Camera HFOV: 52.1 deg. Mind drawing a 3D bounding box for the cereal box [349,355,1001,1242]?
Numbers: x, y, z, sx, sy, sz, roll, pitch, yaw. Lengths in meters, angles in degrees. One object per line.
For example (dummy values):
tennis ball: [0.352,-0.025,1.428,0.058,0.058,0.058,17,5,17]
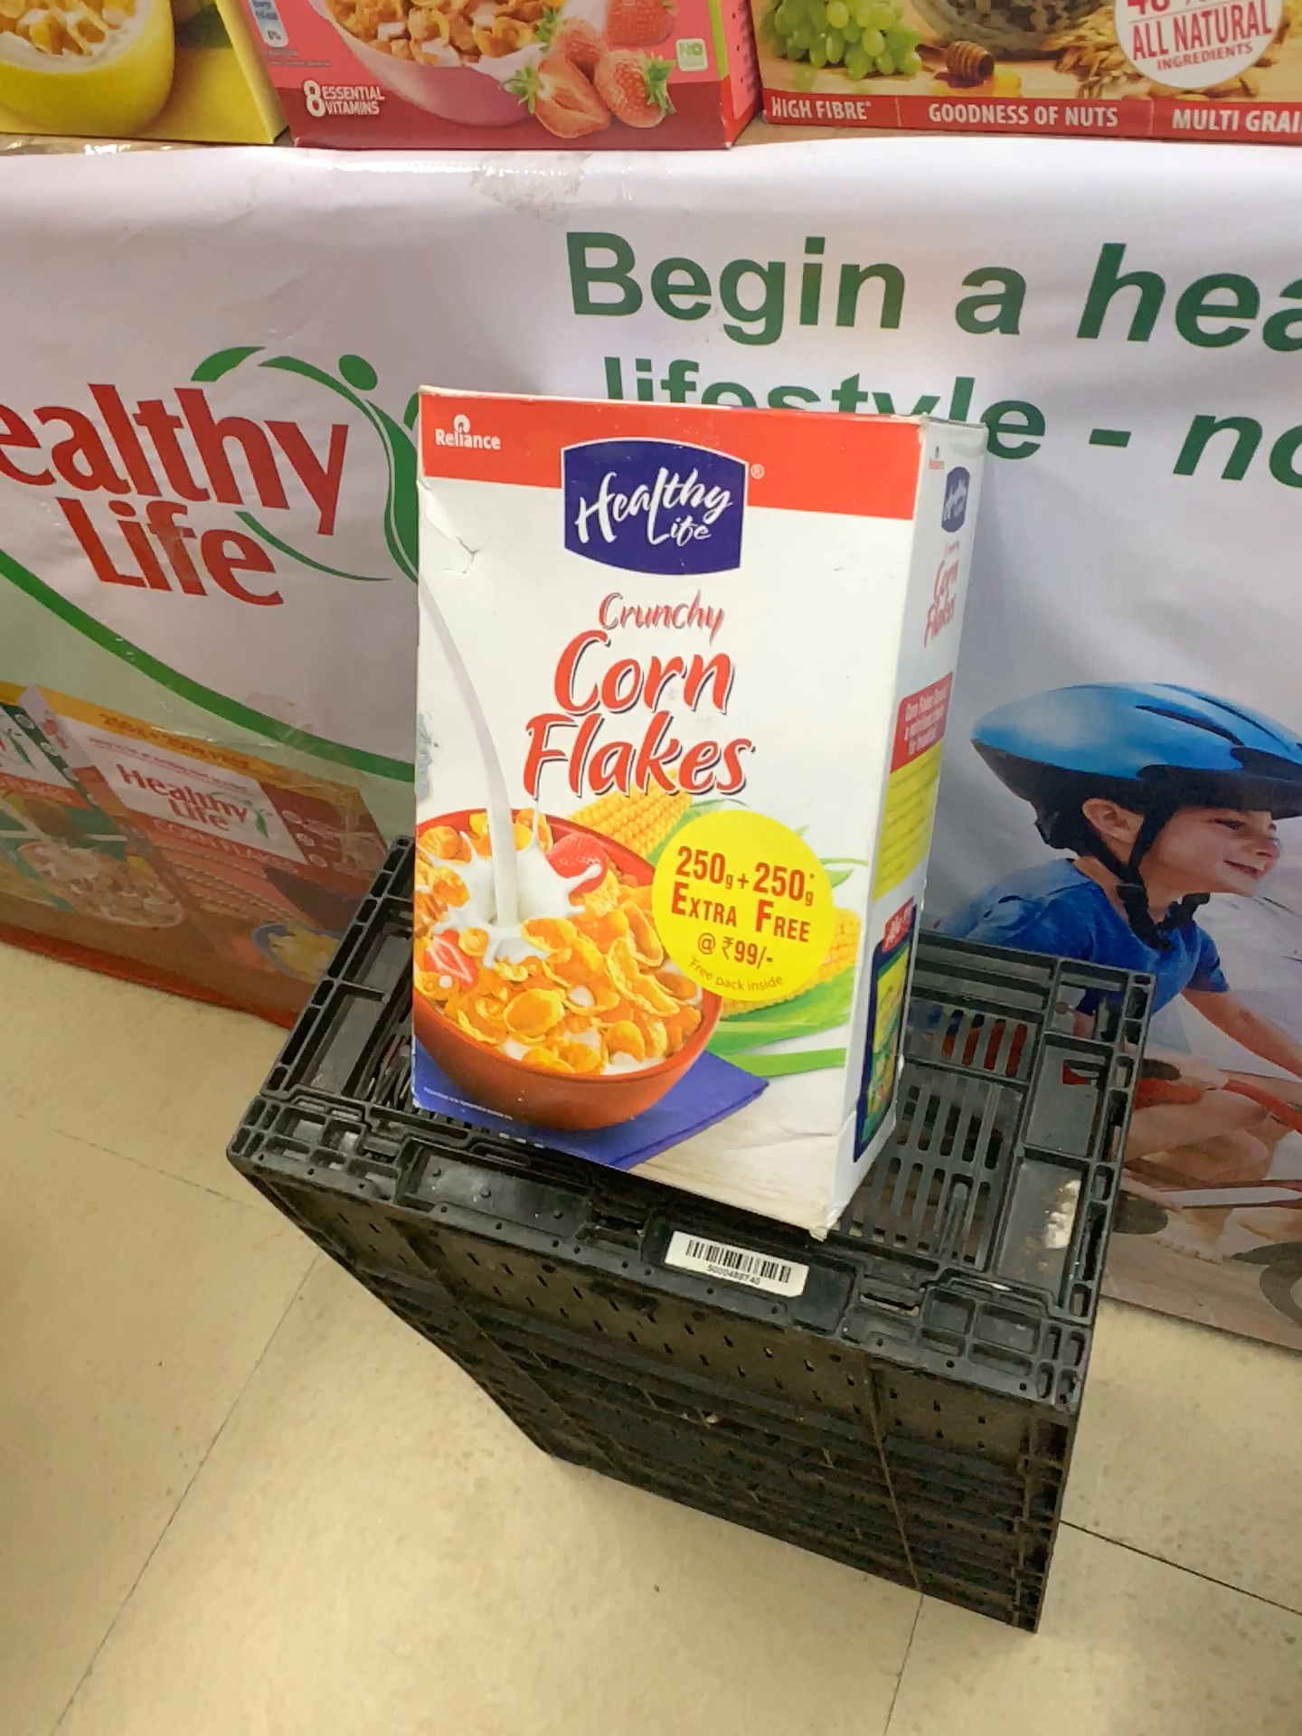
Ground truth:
cereal box: [0.002,-0.035,0.502,0.200,0.280,0.100,11,16,23]
